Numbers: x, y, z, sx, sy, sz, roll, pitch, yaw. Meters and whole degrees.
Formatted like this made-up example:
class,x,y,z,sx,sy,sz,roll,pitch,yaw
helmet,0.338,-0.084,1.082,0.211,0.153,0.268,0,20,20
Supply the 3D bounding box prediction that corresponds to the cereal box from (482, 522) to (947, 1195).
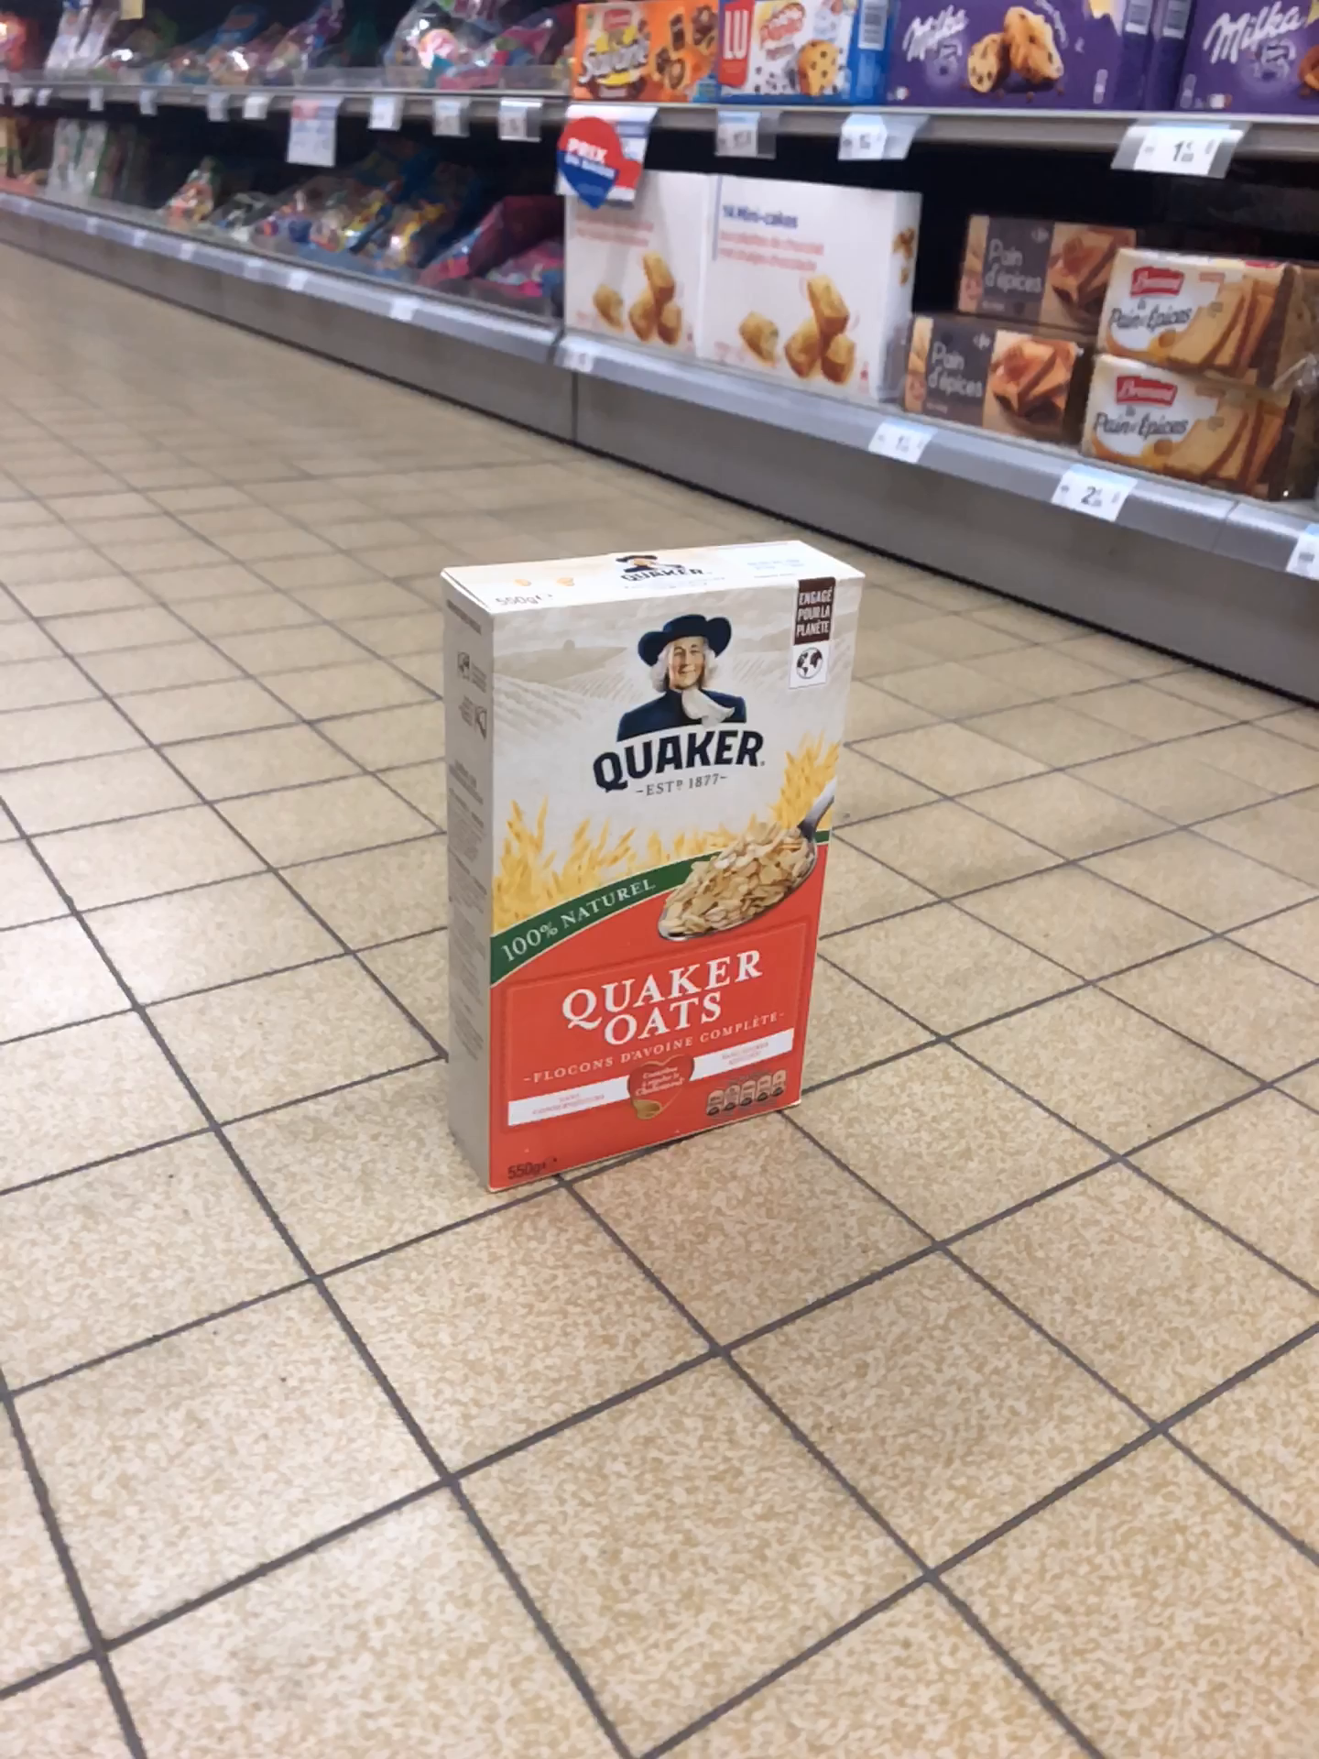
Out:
class,x,y,z,sx,sy,sz,roll,pitch,yaw
cereal box,0.014,-0.008,0.538,0.150,0.229,0.050,-9,29,-25
